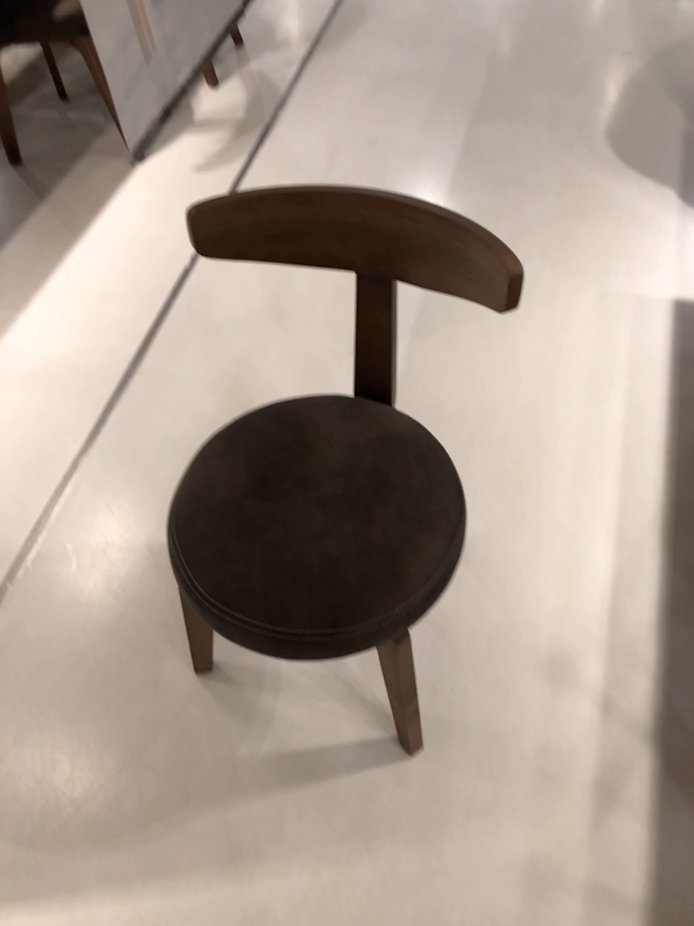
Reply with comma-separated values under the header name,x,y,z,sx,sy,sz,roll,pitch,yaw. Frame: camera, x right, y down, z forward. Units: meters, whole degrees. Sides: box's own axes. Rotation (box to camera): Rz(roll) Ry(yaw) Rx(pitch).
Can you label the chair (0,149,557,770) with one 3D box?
name,x,y,z,sx,sy,sz,roll,pitch,yaw
chair,-0.028,0.028,1.123,0.470,0.707,0.492,14,55,16
